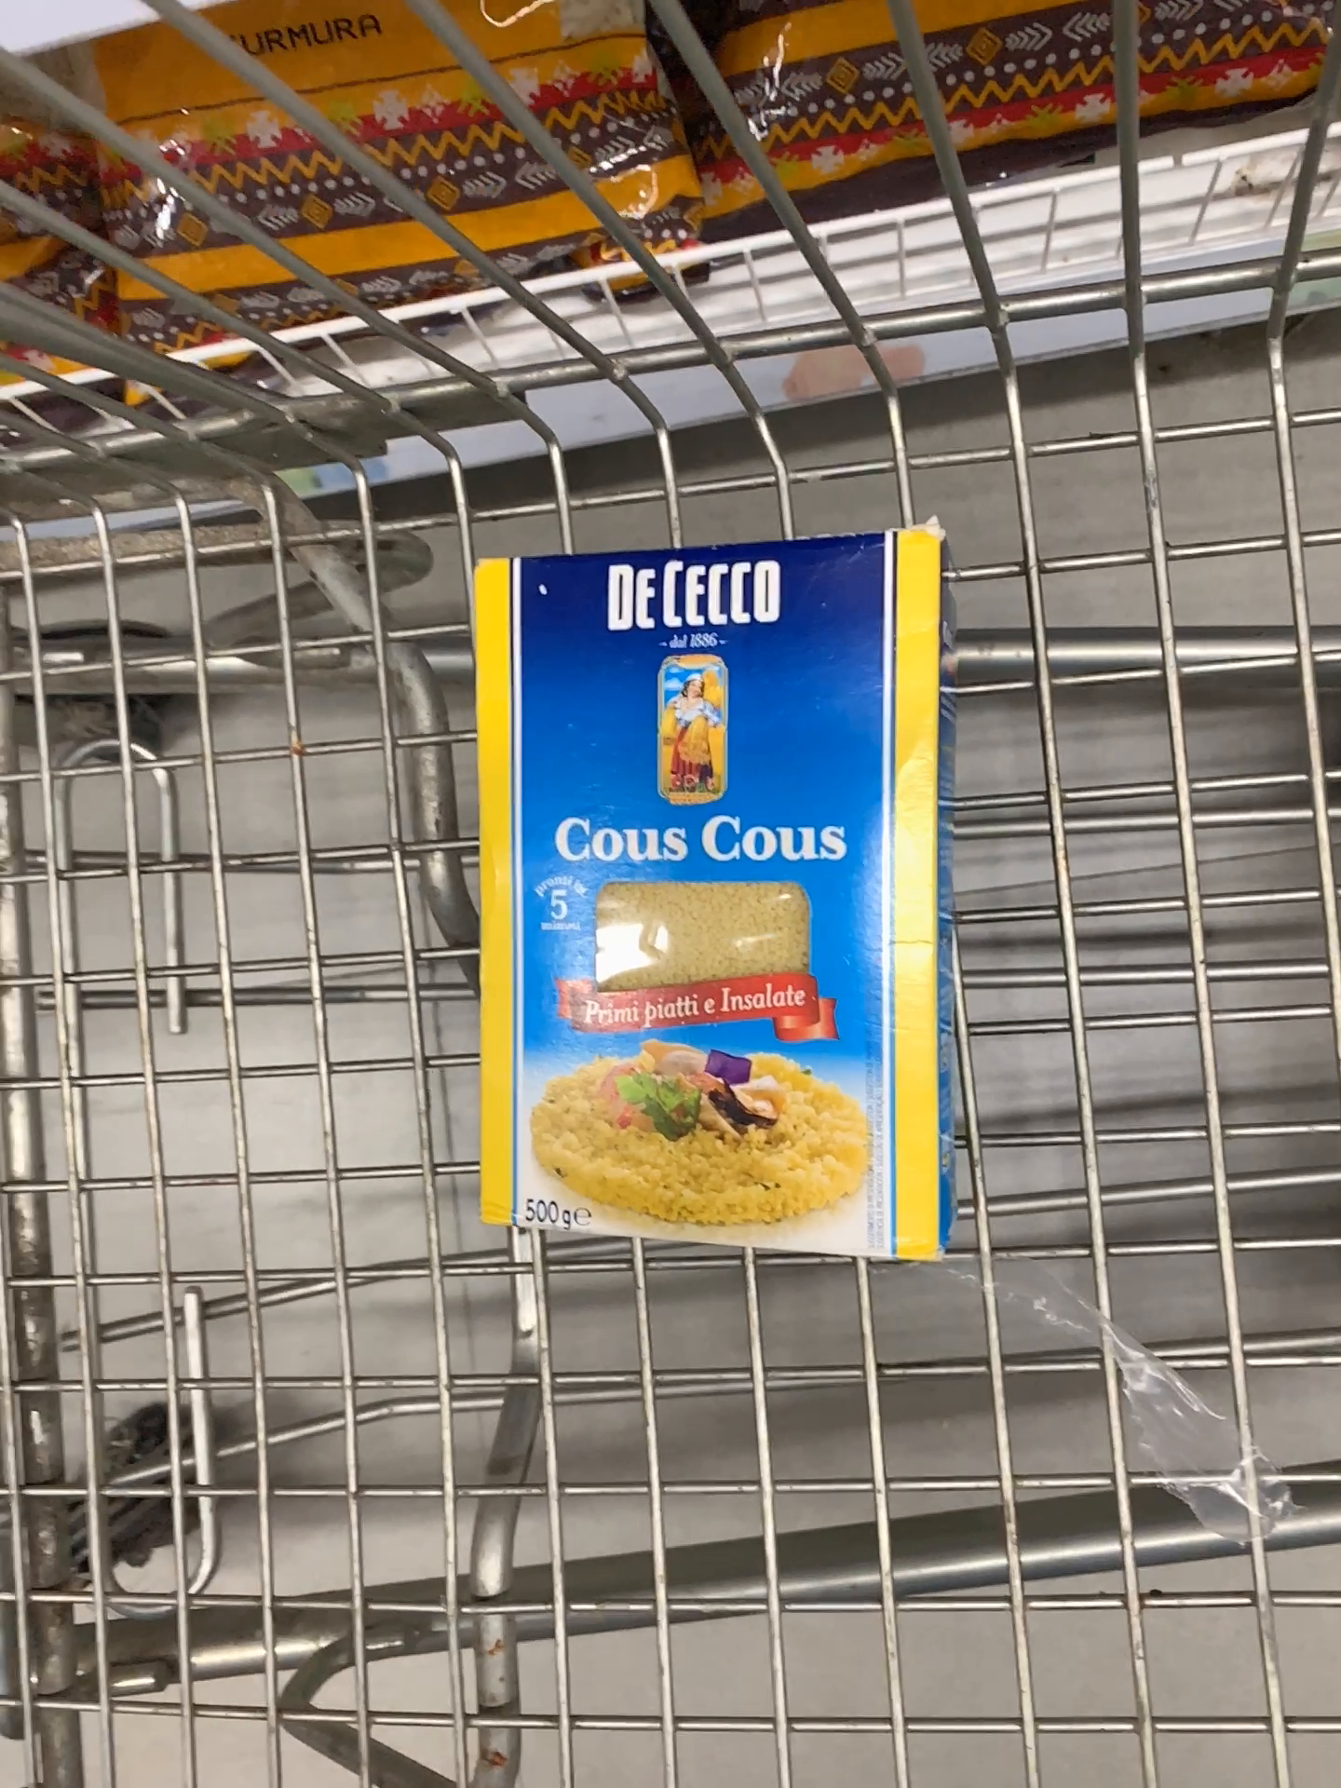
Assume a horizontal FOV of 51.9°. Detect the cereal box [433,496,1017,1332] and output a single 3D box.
[{"bbox_3d":[0.013,0.004,0.305,0.120,0.050,0.160,0,90,17],"label":"cereal box"}]
